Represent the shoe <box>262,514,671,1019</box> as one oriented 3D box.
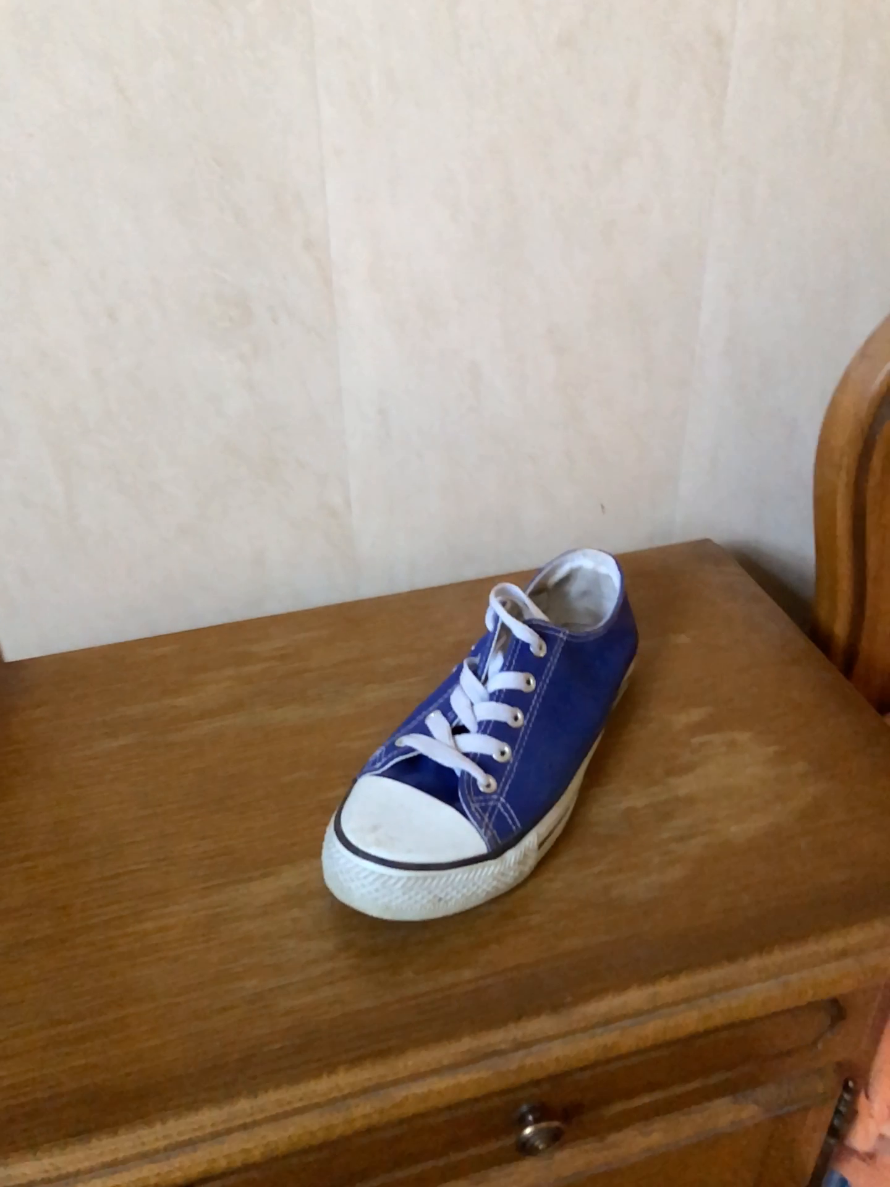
[{"bbox_3d":[0.028,0.064,0.496,0.090,0.089,0.262,15,36,24],"label":"shoe"}]
